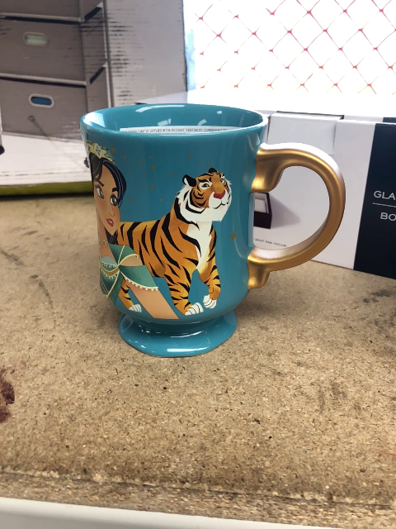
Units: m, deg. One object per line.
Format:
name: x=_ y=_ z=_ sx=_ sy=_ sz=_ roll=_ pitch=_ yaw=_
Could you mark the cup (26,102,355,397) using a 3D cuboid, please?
cup: x=0.005 y=-0.020 z=0.249 sx=0.140 sy=0.120 sz=0.099 roll=7 pitch=28 yaw=17
